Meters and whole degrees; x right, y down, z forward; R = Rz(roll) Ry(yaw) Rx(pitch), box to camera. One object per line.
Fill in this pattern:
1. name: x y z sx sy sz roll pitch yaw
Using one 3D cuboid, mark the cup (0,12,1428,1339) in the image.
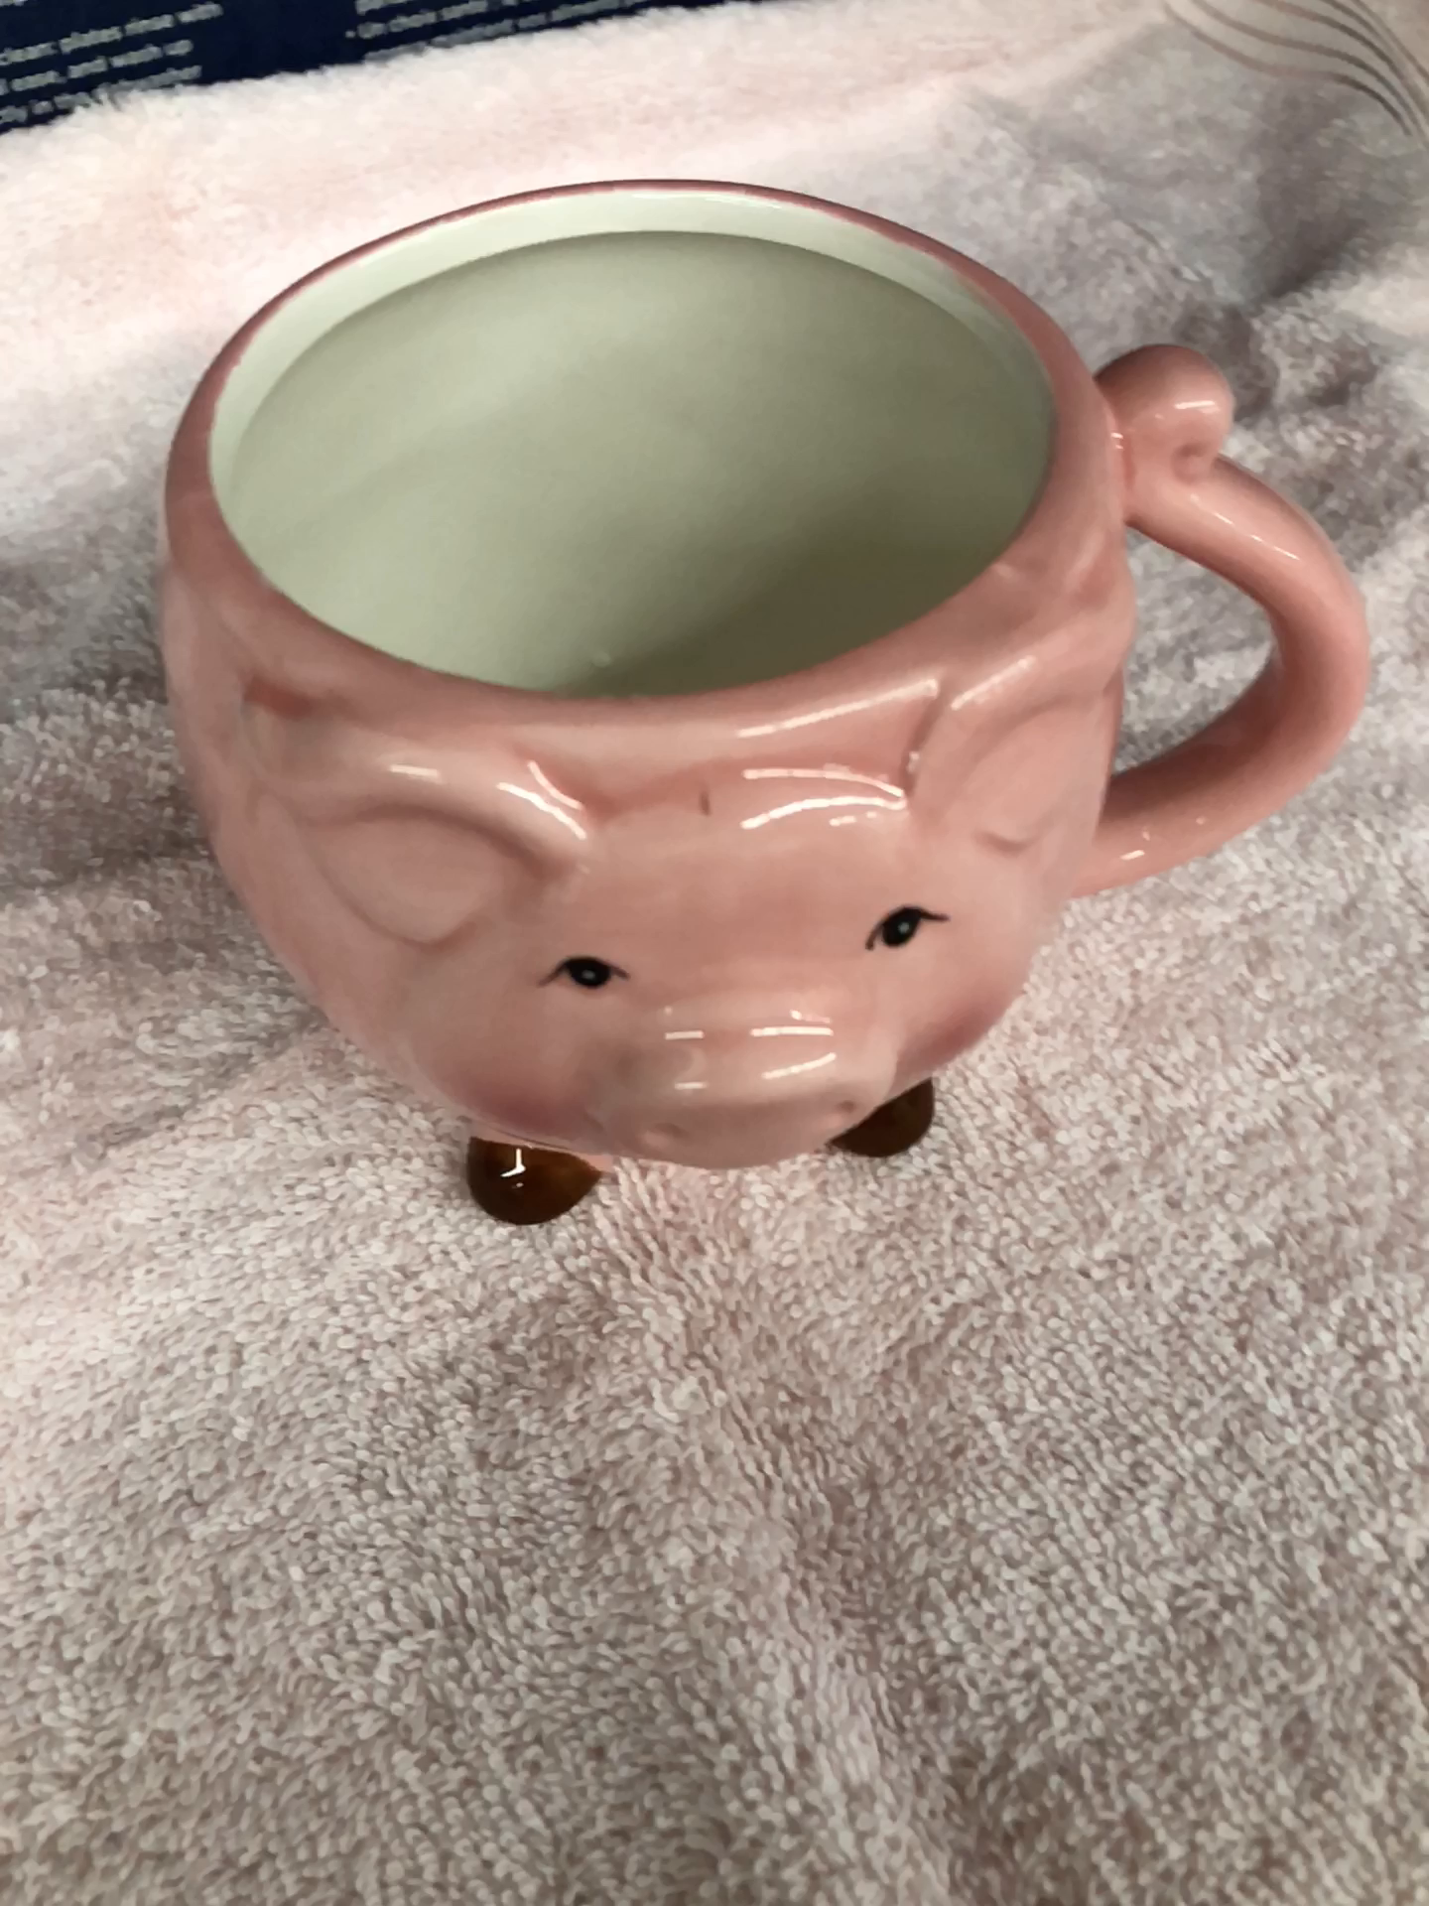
1. cup: 0.019 -0.030 0.178 0.150 0.090 0.101 -5 55 -4
